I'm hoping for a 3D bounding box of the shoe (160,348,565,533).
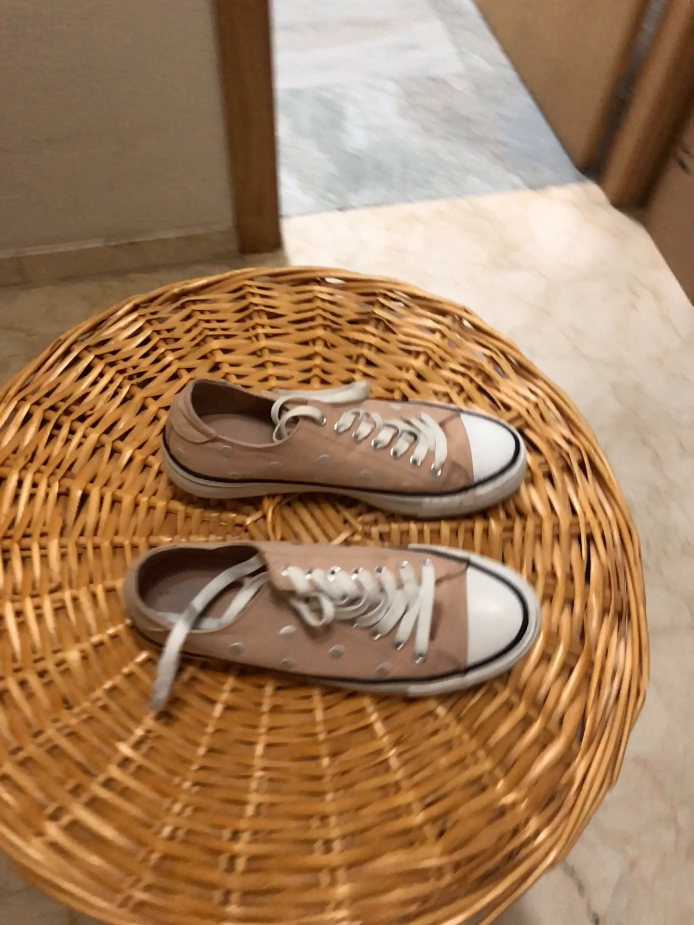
[{"bbox_3d":[0.005,-0.015,0.520,0.246,0.085,0.087,-2,58,-8],"label":"shoe"}]

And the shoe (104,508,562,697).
[{"bbox_3d":[-0.007,0.090,0.472,0.246,0.095,0.093,2,70,-1],"label":"shoe"}]
